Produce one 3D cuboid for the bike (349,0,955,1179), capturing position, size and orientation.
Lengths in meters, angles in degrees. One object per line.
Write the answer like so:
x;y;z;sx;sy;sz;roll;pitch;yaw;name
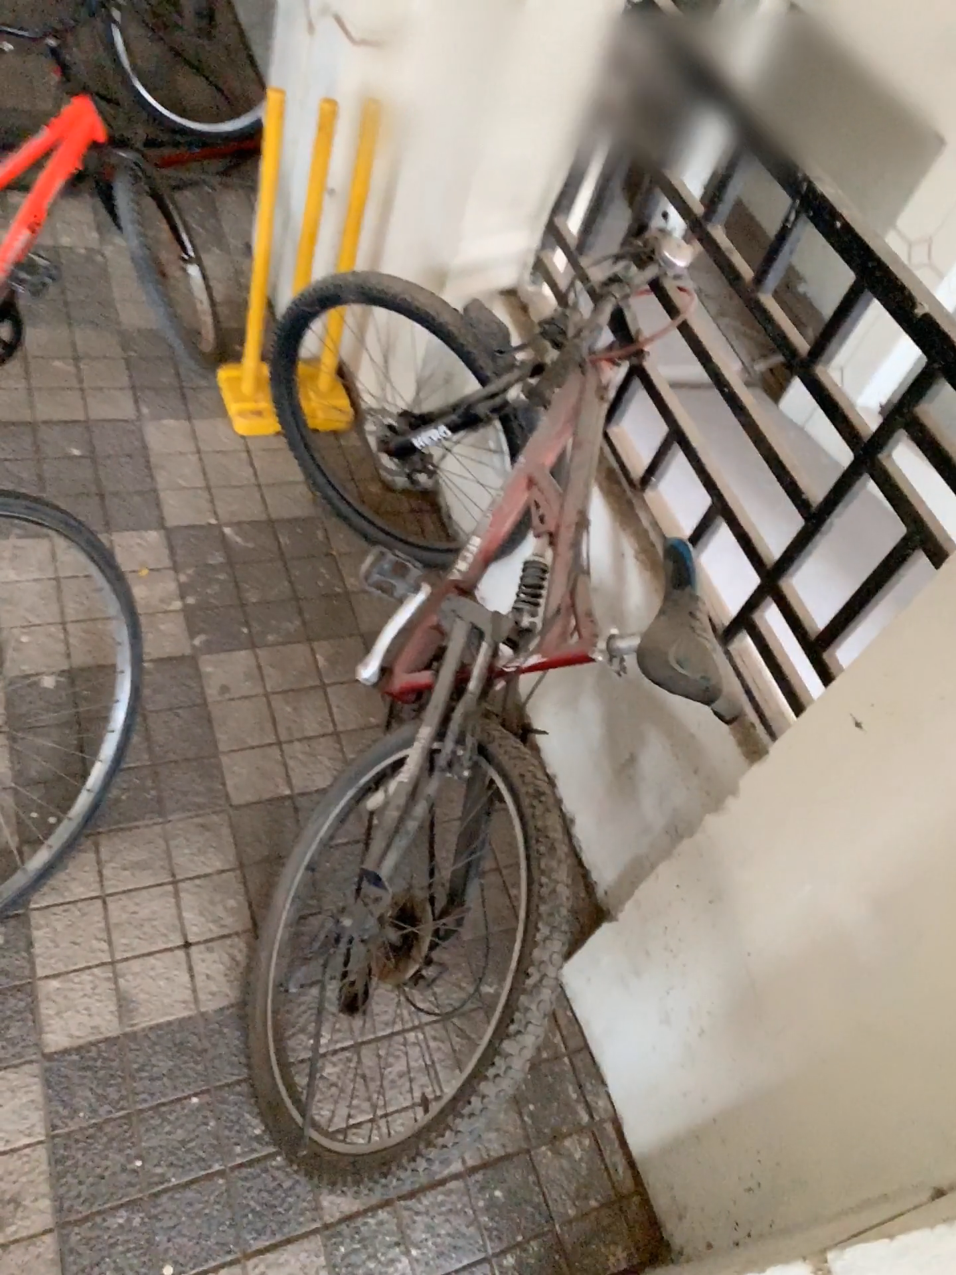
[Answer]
0.204;-0.113;1.518;0.608;0.832;1.468;3;60;-18;bike
